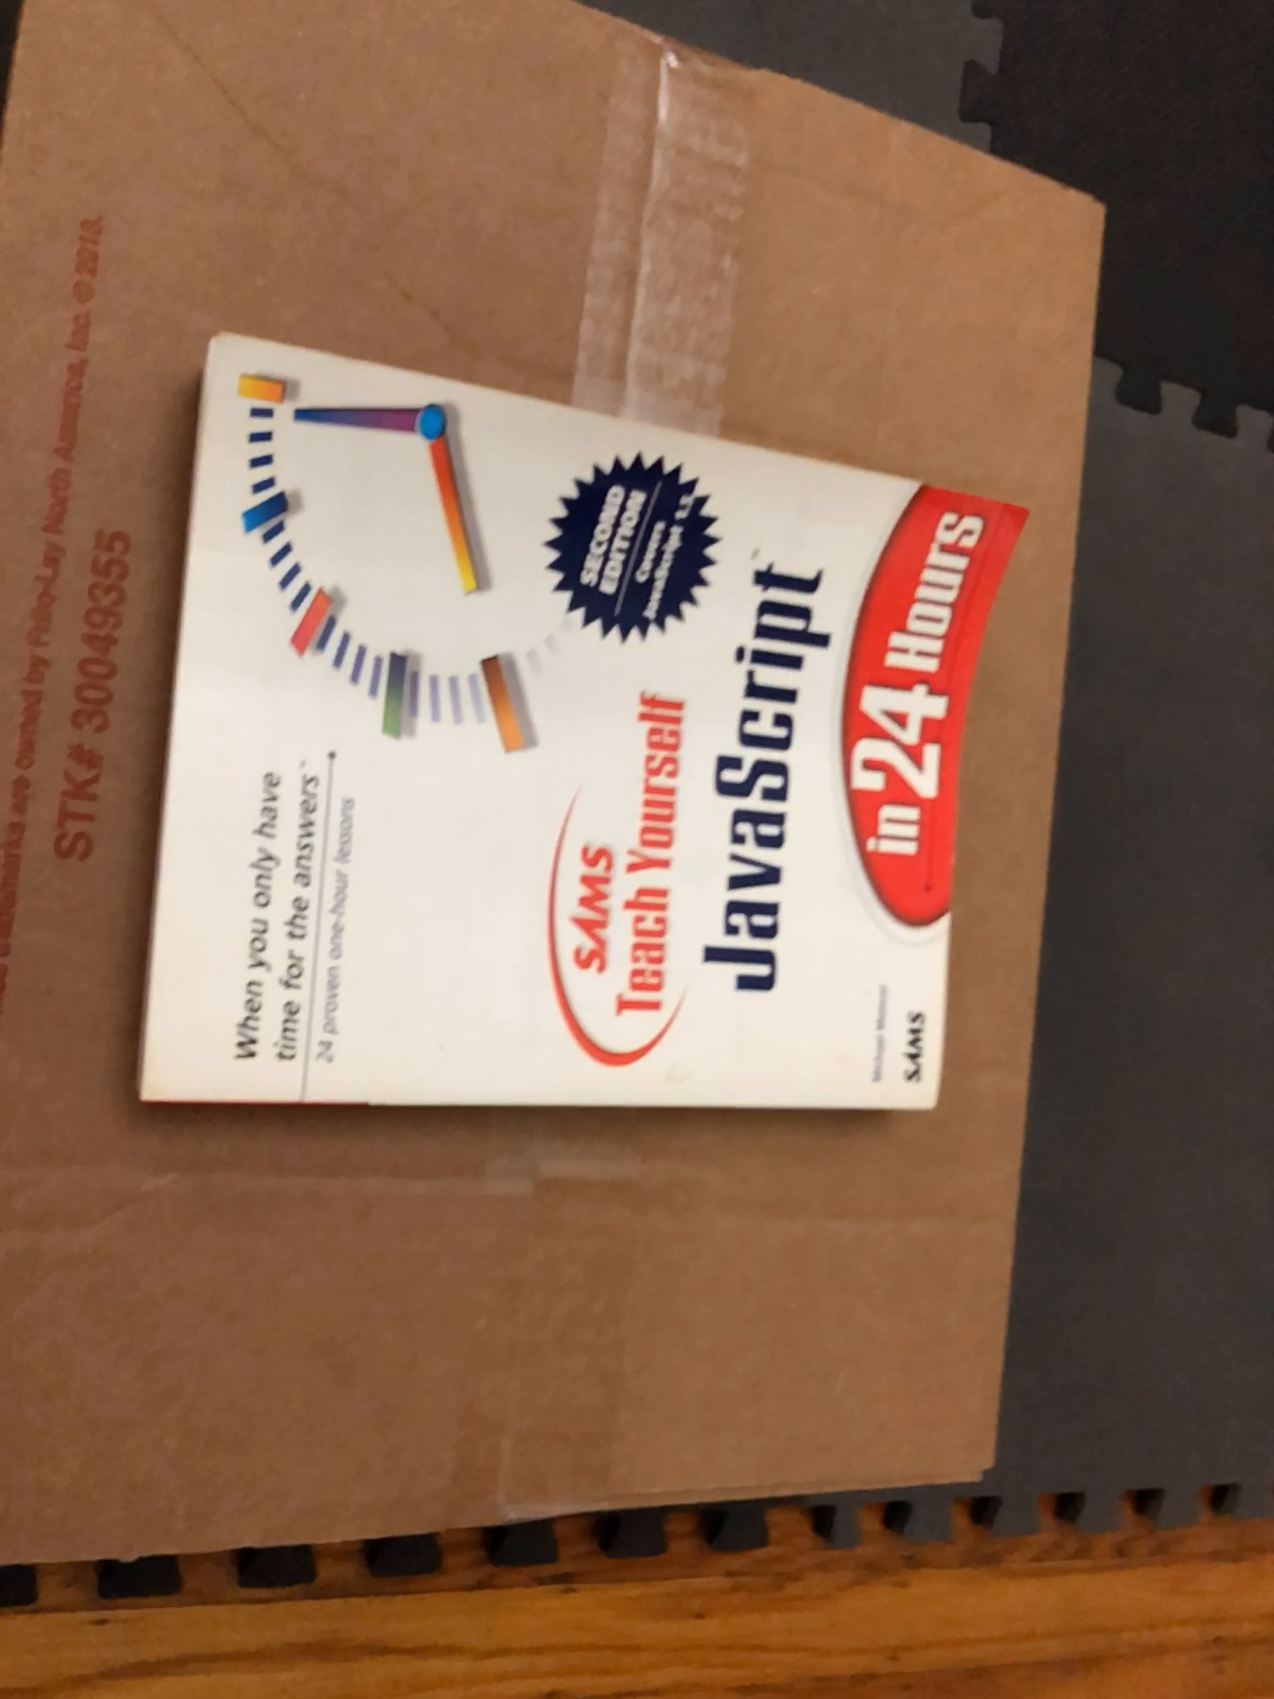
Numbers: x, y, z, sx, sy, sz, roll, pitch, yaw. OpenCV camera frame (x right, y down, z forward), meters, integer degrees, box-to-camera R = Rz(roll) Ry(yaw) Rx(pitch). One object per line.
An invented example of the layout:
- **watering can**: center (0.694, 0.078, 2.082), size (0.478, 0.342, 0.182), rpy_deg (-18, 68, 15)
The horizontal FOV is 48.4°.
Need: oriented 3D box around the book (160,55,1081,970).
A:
- **book**: center (0.007, -0.074, 0.384), size (0.240, 0.030, 0.200), rpy_deg (5, 88, -22)
